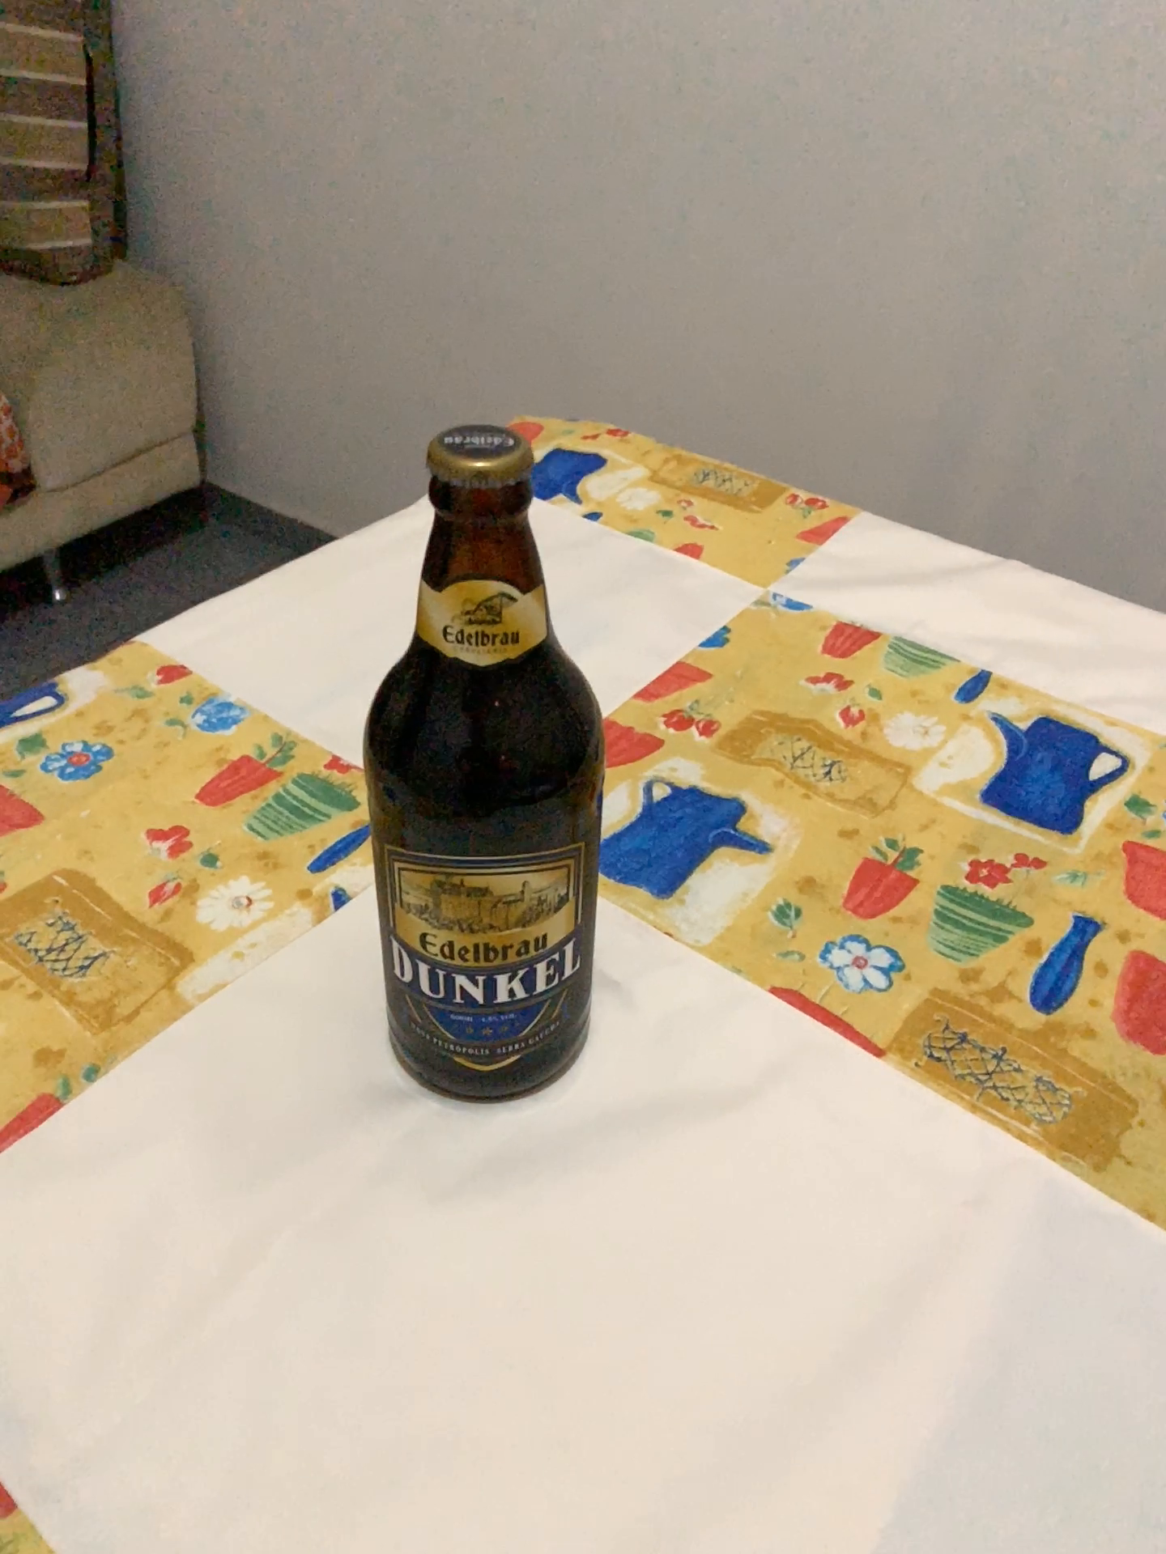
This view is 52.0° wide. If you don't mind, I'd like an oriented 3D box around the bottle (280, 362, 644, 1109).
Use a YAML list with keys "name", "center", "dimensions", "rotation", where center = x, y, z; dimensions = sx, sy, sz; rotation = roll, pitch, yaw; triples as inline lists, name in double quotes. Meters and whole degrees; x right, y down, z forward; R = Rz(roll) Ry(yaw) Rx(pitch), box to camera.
- name: "bottle"
  center: [-0.033, -0.002, 0.363]
  dimensions: [0.080, 0.219, 0.080]
  rotation: [2, 38, -1]
